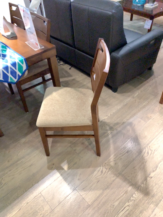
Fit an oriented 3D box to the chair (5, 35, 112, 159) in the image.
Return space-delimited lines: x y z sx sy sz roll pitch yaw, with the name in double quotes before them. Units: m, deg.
"chair" -0.091 -0.044 1.282 0.530 0.827 0.472 0 45 4
